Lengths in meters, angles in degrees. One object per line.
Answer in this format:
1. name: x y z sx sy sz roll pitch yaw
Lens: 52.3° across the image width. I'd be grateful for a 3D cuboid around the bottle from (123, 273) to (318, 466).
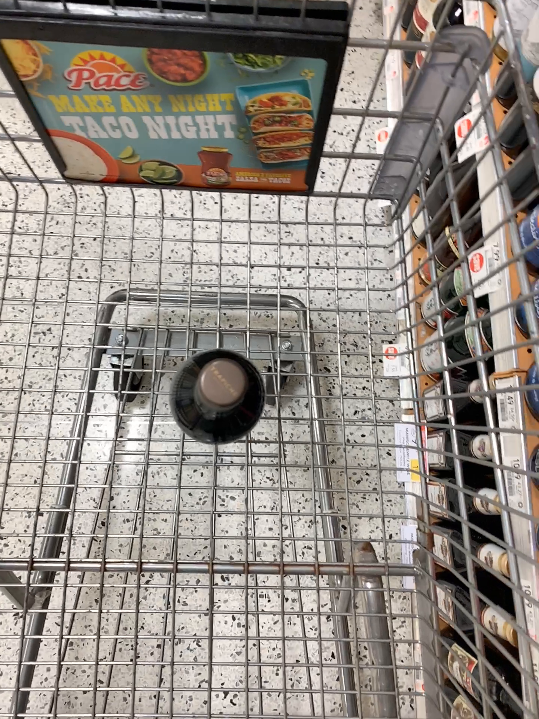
1. bottle: -0.040 0.027 0.471 0.090 0.299 0.090 1 81 -4
